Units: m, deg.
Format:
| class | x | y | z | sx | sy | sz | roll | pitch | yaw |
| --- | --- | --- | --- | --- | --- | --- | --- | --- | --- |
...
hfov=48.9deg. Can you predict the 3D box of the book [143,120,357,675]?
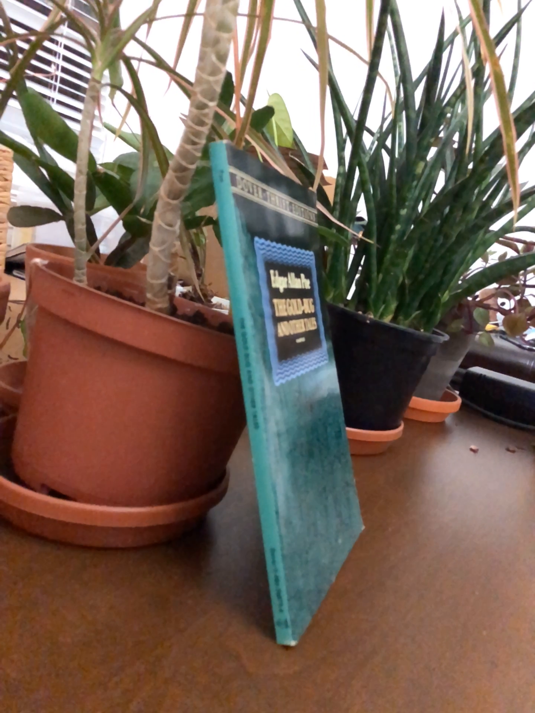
| class | x | y | z | sx | sy | sz | roll | pitch | yaw |
| --- | --- | --- | --- | --- | --- | --- | --- | --- | --- |
| book | 0.004 | 0.011 | 0.287 | 0.020 | 0.210 | 0.140 | -8 | 3 | 21 |
